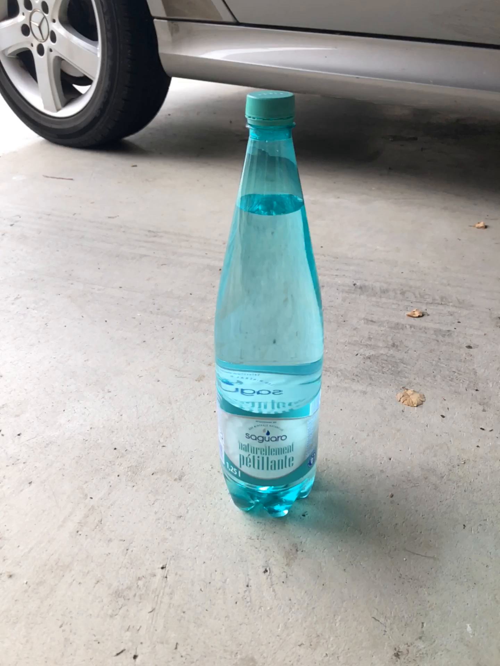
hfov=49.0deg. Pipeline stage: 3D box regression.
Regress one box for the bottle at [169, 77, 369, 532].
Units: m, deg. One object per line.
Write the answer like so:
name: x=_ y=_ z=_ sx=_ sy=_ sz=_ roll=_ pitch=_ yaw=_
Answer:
bottle: x=0.013 y=-0.003 z=0.396 sx=0.100 sy=0.318 sz=0.091 roll=4 pitch=32 yaw=5
